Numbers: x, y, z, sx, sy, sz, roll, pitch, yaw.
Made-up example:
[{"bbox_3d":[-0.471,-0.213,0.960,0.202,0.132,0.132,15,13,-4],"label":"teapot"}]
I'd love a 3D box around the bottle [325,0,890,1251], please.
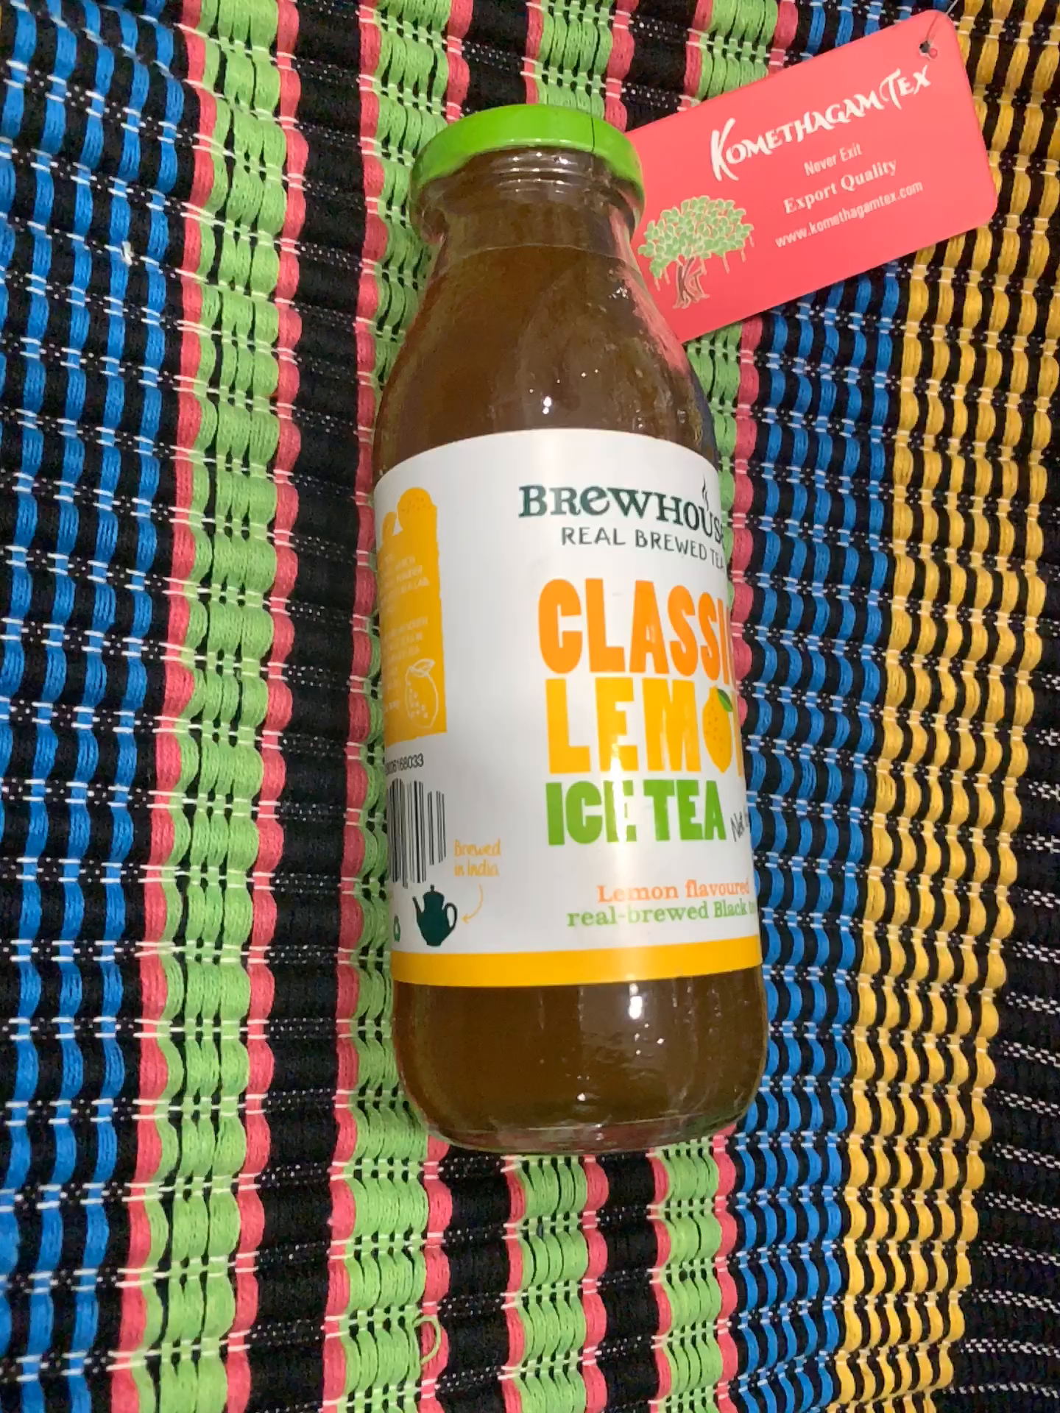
[{"bbox_3d":[0.008,-0.019,0.183,0.060,0.050,0.180,1,80,-34],"label":"bottle"}]
